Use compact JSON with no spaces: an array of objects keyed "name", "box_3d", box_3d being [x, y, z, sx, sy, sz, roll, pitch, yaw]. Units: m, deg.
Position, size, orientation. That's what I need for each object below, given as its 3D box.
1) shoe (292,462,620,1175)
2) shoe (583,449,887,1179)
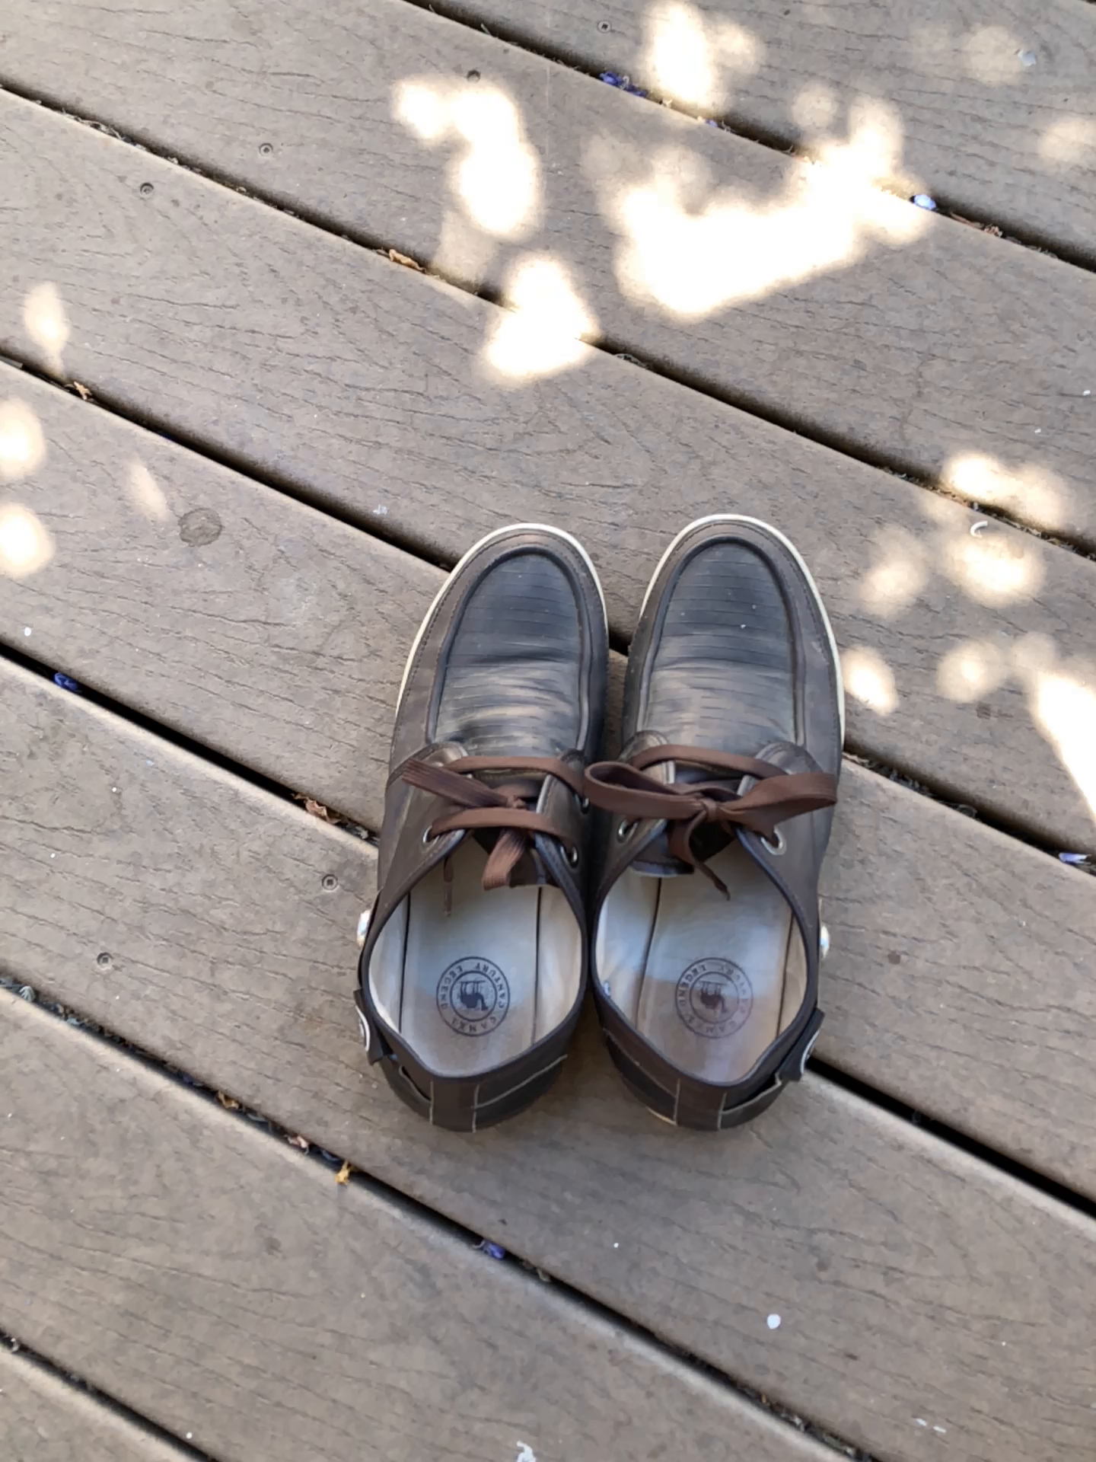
[{"name":"shoe","box_3d":[-0.032,0.038,0.553,0.107,0.115,0.287,5,80,4]},{"name":"shoe","box_3d":[0.081,0.034,0.537,0.107,0.105,0.289,4,80,4]}]
